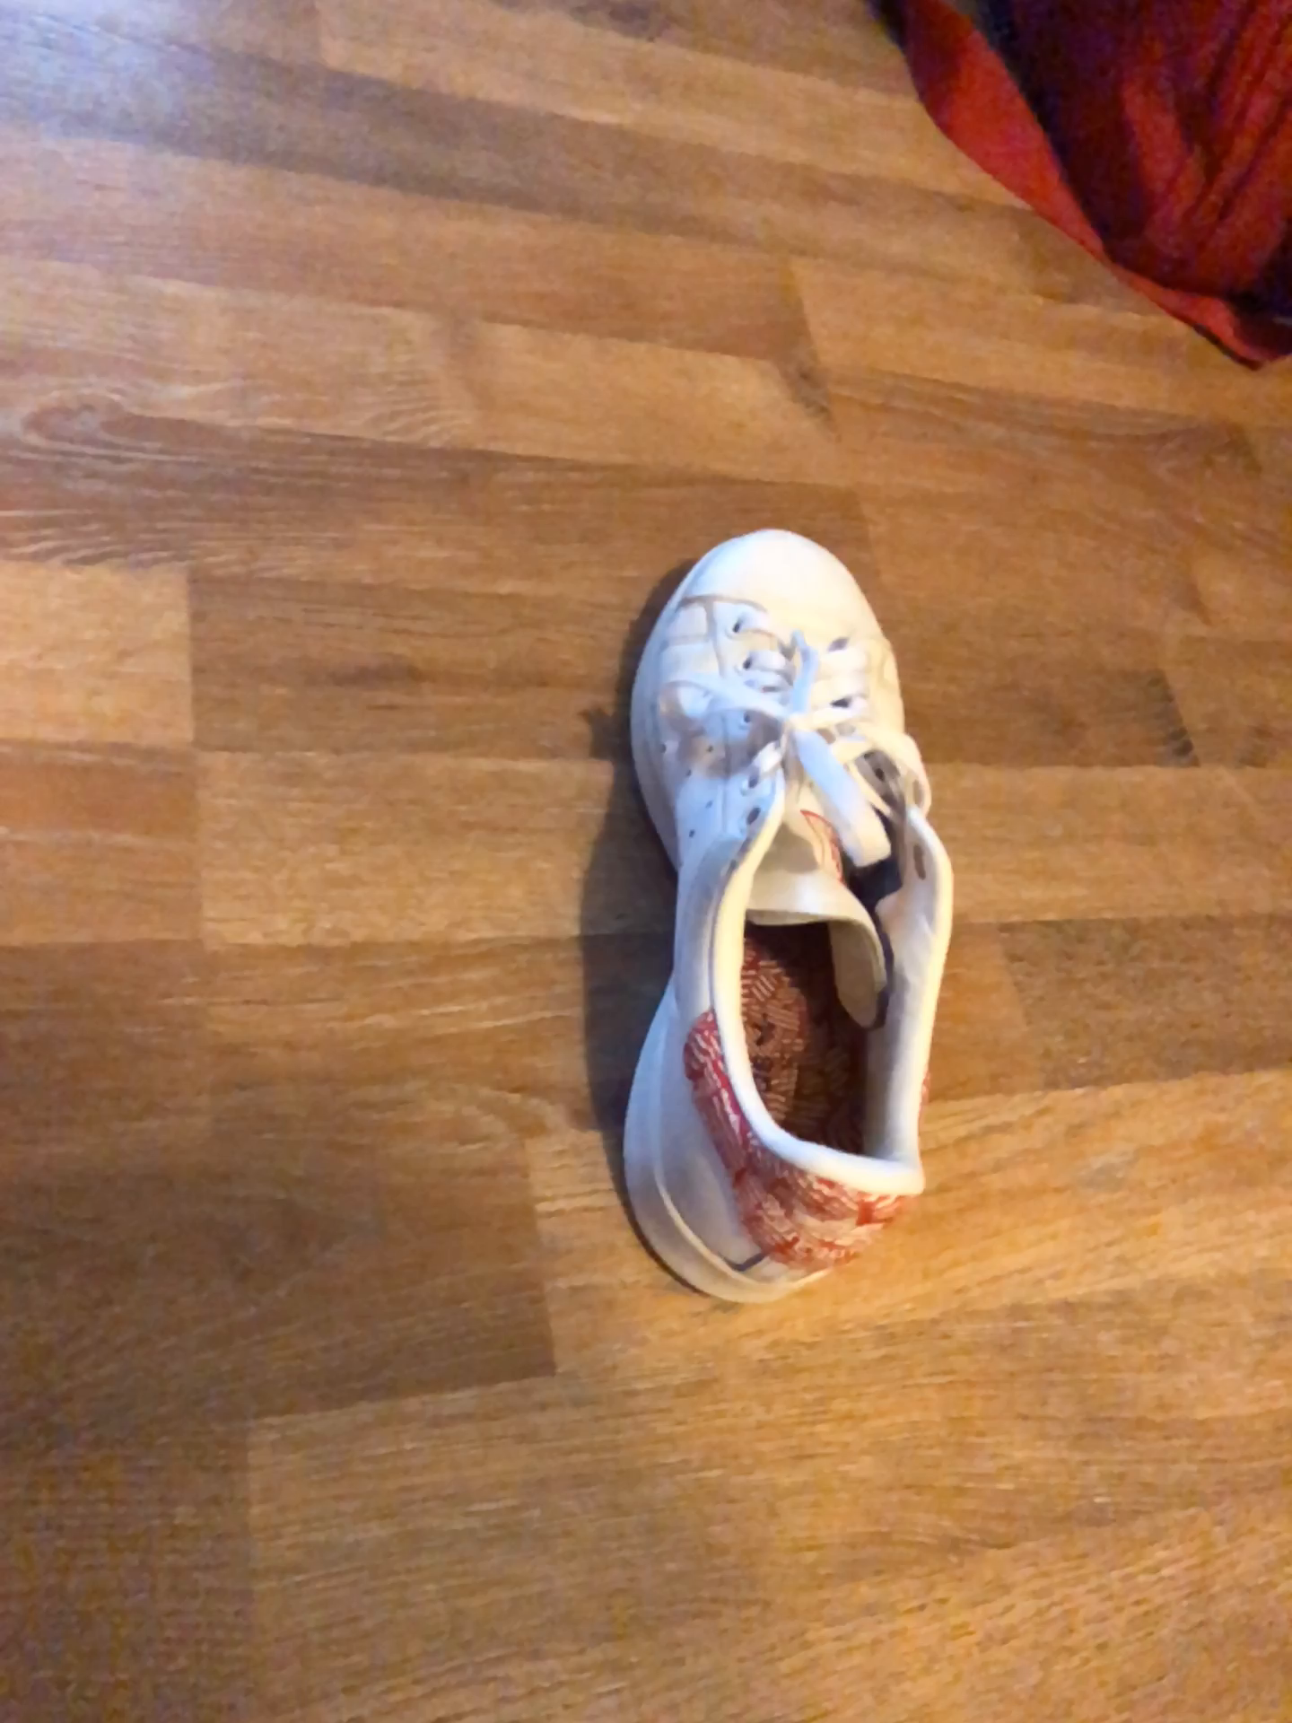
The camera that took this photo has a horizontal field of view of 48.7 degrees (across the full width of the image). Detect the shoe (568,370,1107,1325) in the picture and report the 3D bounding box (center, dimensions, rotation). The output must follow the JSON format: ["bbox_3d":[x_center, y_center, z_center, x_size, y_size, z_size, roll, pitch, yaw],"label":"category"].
[{"bbox_3d":[0.051,-0.005,0.430,0.100,0.109,0.251,13,59,-15],"label":"shoe"}]
